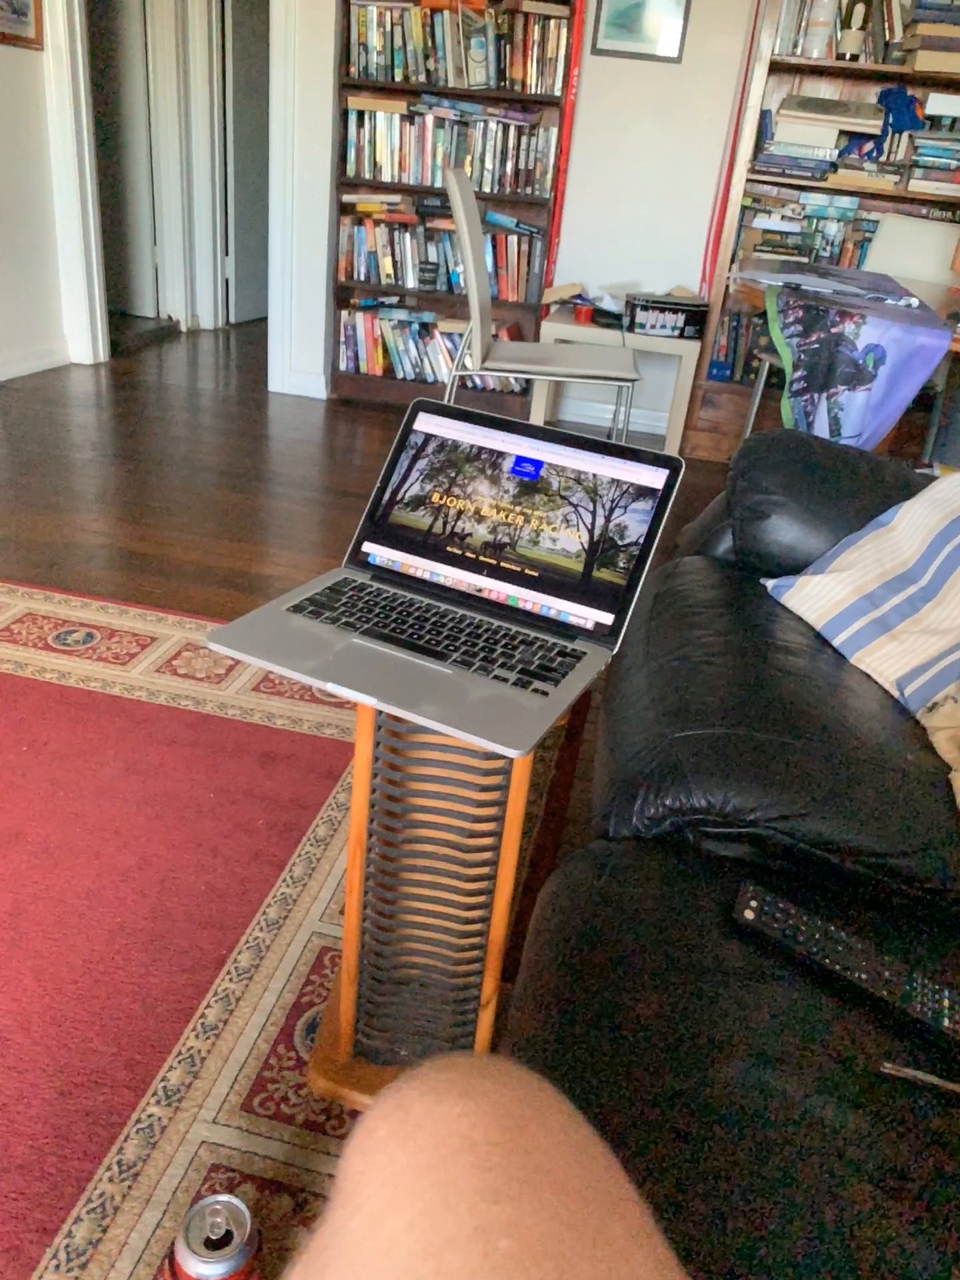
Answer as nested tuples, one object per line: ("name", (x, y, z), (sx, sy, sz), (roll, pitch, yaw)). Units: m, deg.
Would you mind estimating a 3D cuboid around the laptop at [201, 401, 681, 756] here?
("laptop", (-0.022, -0.088, 0.914), (0.312, 0.161, 0.341), (18, 27, 22))
